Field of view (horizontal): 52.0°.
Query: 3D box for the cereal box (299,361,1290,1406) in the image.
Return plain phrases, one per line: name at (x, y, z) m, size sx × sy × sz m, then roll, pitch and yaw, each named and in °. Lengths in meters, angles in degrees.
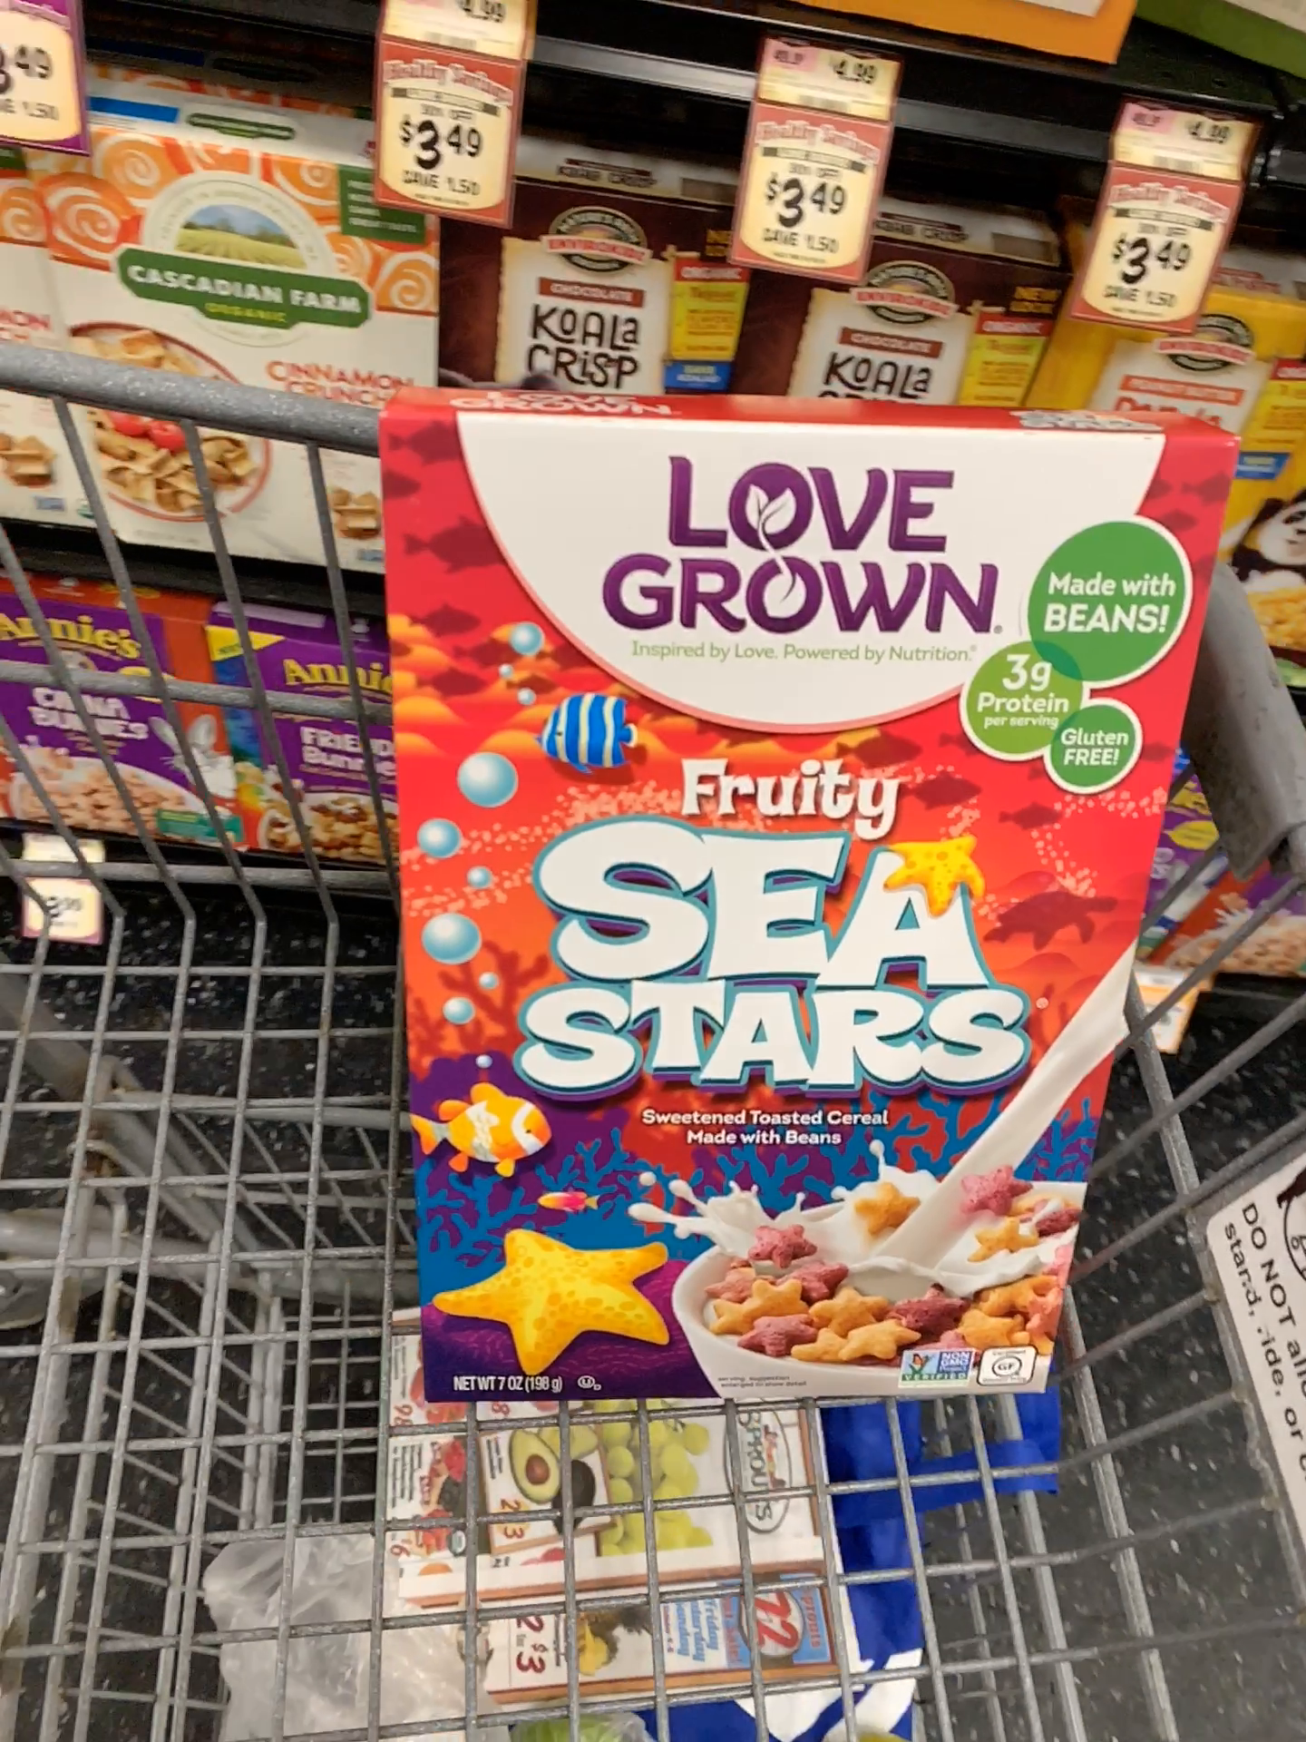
cereal box at (0.021, 0.018, 0.320) m, size 0.180 × 0.249 × 0.050 m, roll 1°, pitch 27°, yaw -4°
